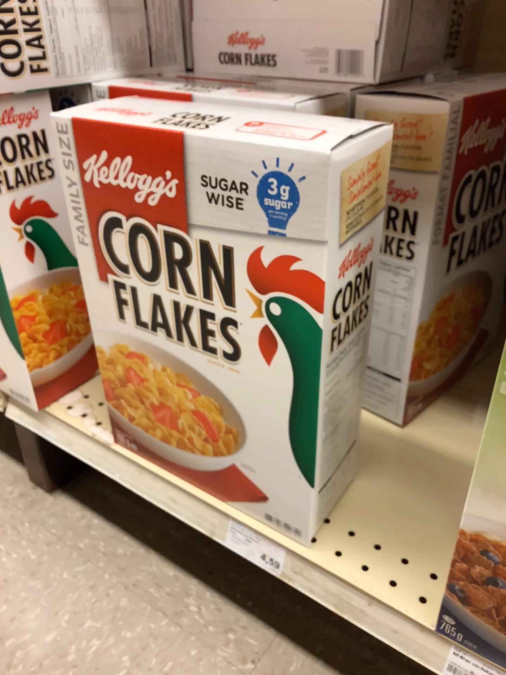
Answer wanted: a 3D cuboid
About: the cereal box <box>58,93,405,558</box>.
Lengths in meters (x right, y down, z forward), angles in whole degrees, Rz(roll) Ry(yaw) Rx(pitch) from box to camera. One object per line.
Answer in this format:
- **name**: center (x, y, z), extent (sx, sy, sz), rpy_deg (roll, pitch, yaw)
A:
- **cereal box**: center (-0.026, -0.013, 0.550), extent (0.271, 0.387, 0.101), rpy_deg (18, 35, 28)
